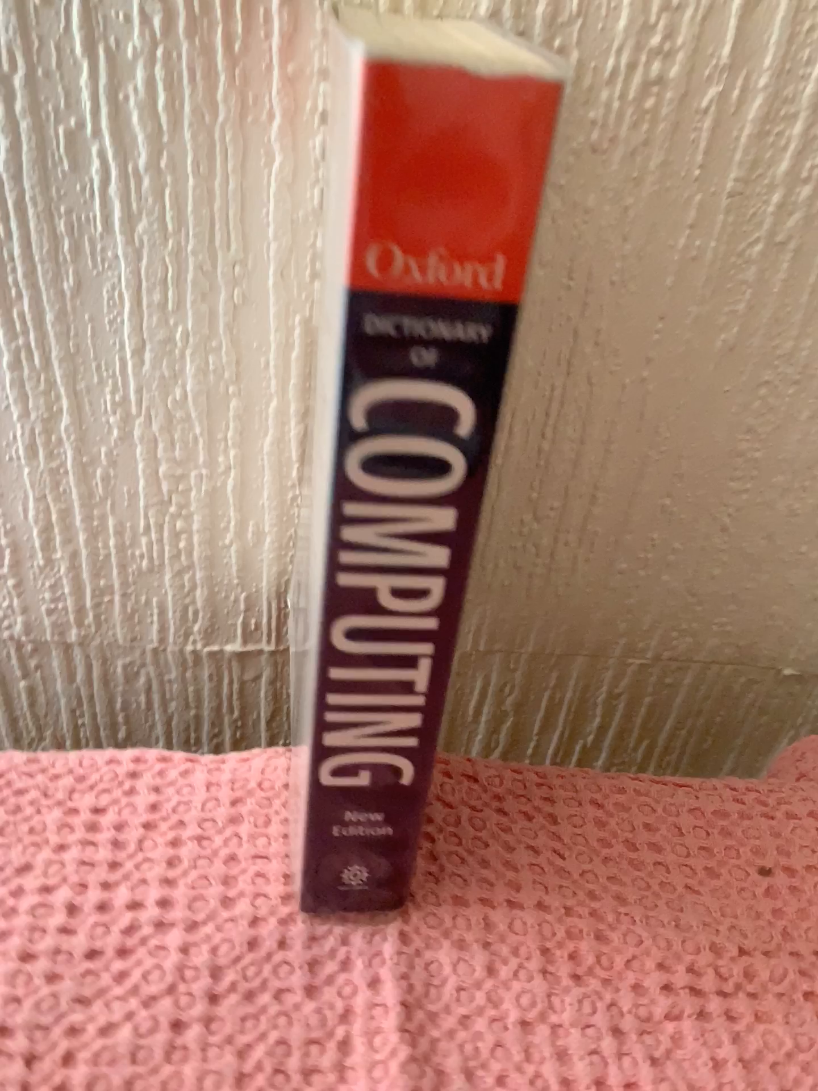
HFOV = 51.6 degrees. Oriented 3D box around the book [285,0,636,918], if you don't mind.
[{"bbox_3d":[-0.003,-0.029,0.218,0.040,0.188,0.152,4,35,-5],"label":"book"}]
